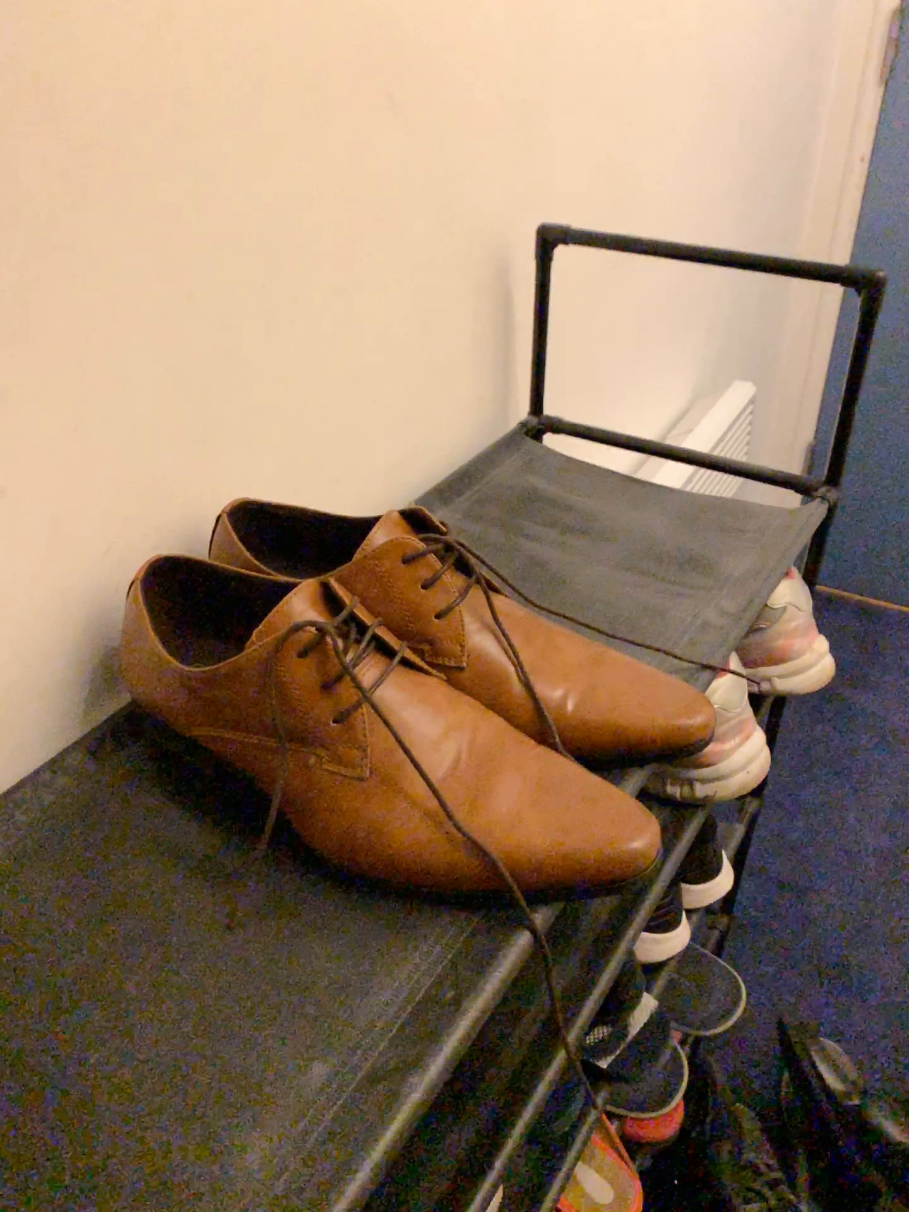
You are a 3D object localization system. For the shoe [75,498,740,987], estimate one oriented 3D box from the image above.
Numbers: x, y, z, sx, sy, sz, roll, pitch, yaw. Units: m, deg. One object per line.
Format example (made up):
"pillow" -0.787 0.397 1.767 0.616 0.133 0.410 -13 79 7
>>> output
"shoe" -0.025 0.045 0.431 0.270 0.099 0.111 16 37 25

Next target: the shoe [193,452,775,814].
"shoe" 0.012 0.003 0.517 0.290 0.099 0.101 13 36 21
